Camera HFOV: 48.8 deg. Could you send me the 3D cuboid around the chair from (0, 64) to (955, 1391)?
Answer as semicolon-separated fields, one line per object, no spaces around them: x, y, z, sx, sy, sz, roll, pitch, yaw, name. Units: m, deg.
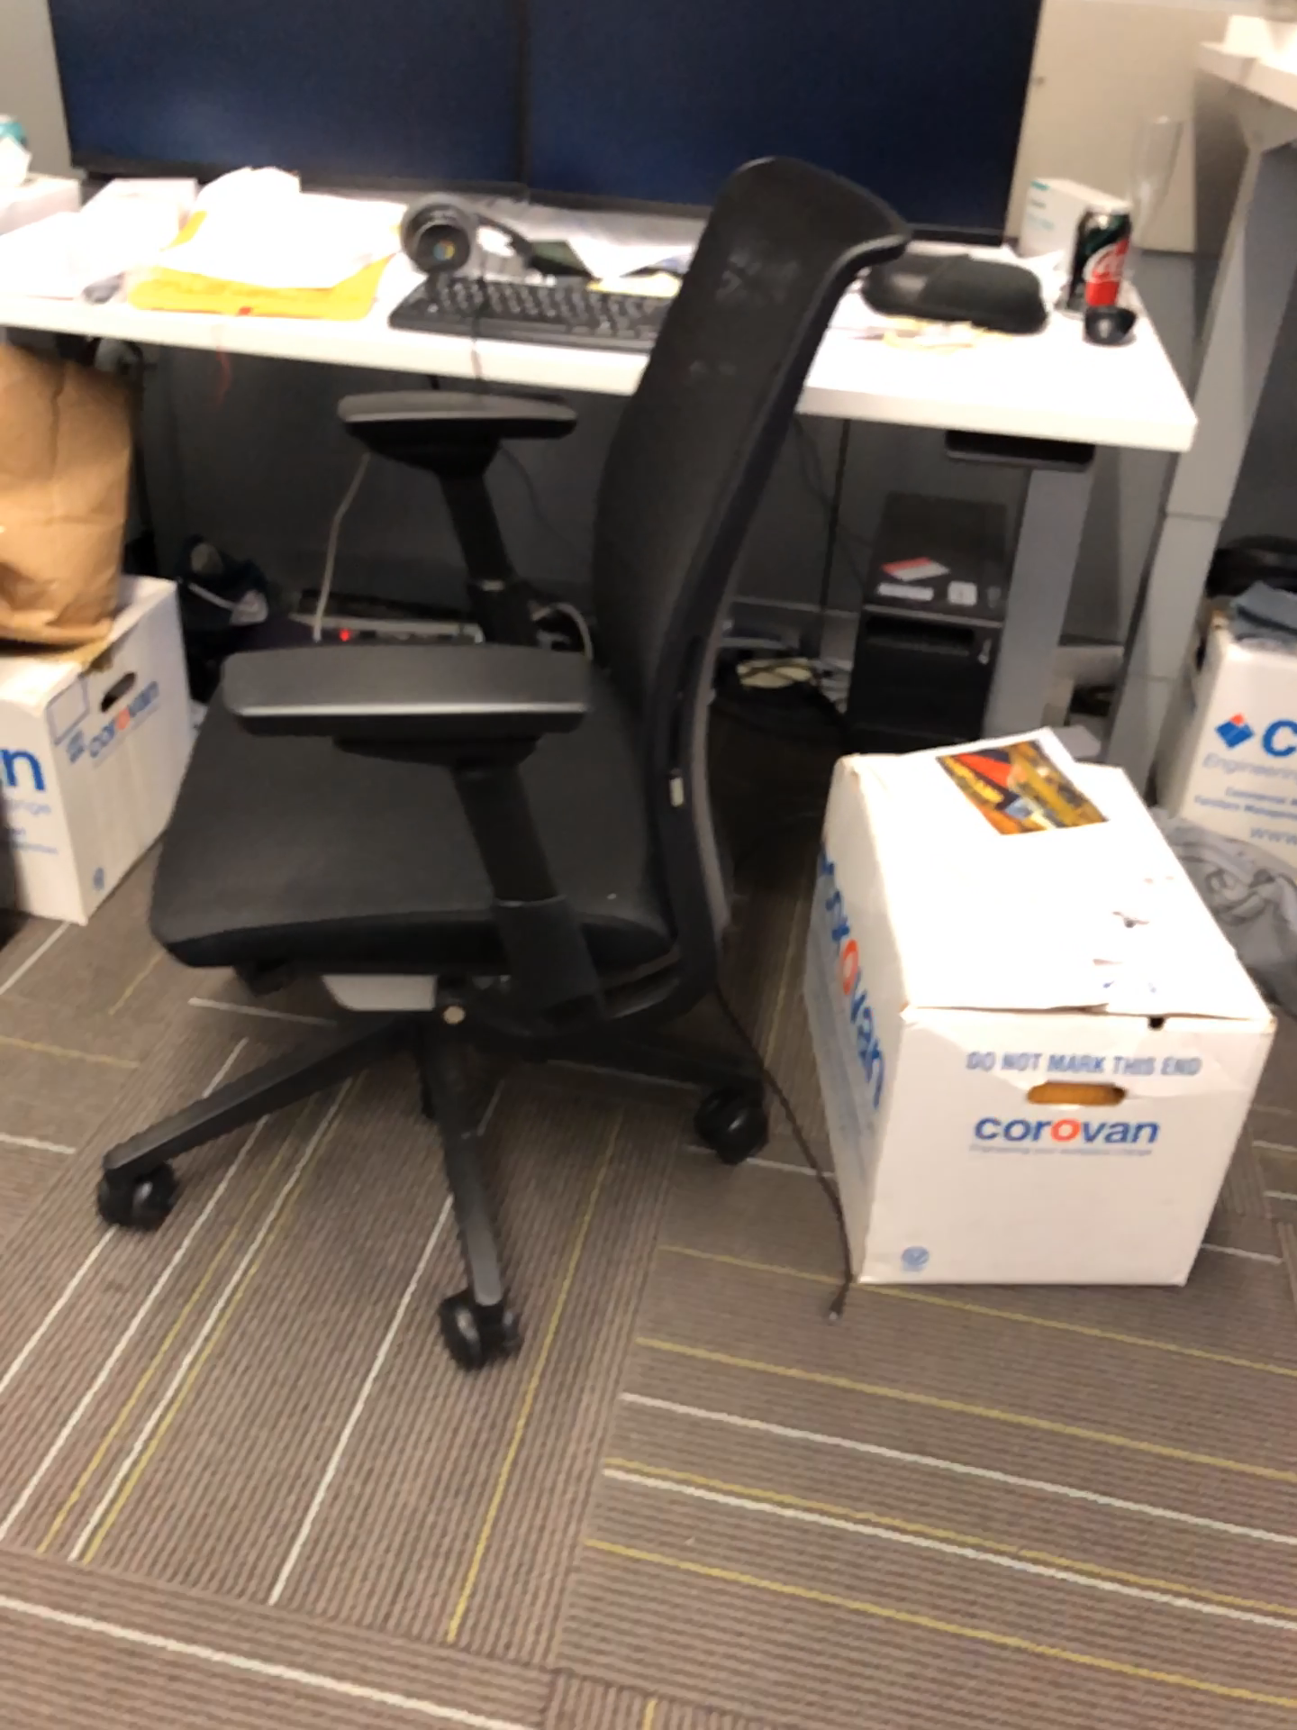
-0.203;-0.145;1.281;0.610;0.935;0.674;-2;33;-9;chair
